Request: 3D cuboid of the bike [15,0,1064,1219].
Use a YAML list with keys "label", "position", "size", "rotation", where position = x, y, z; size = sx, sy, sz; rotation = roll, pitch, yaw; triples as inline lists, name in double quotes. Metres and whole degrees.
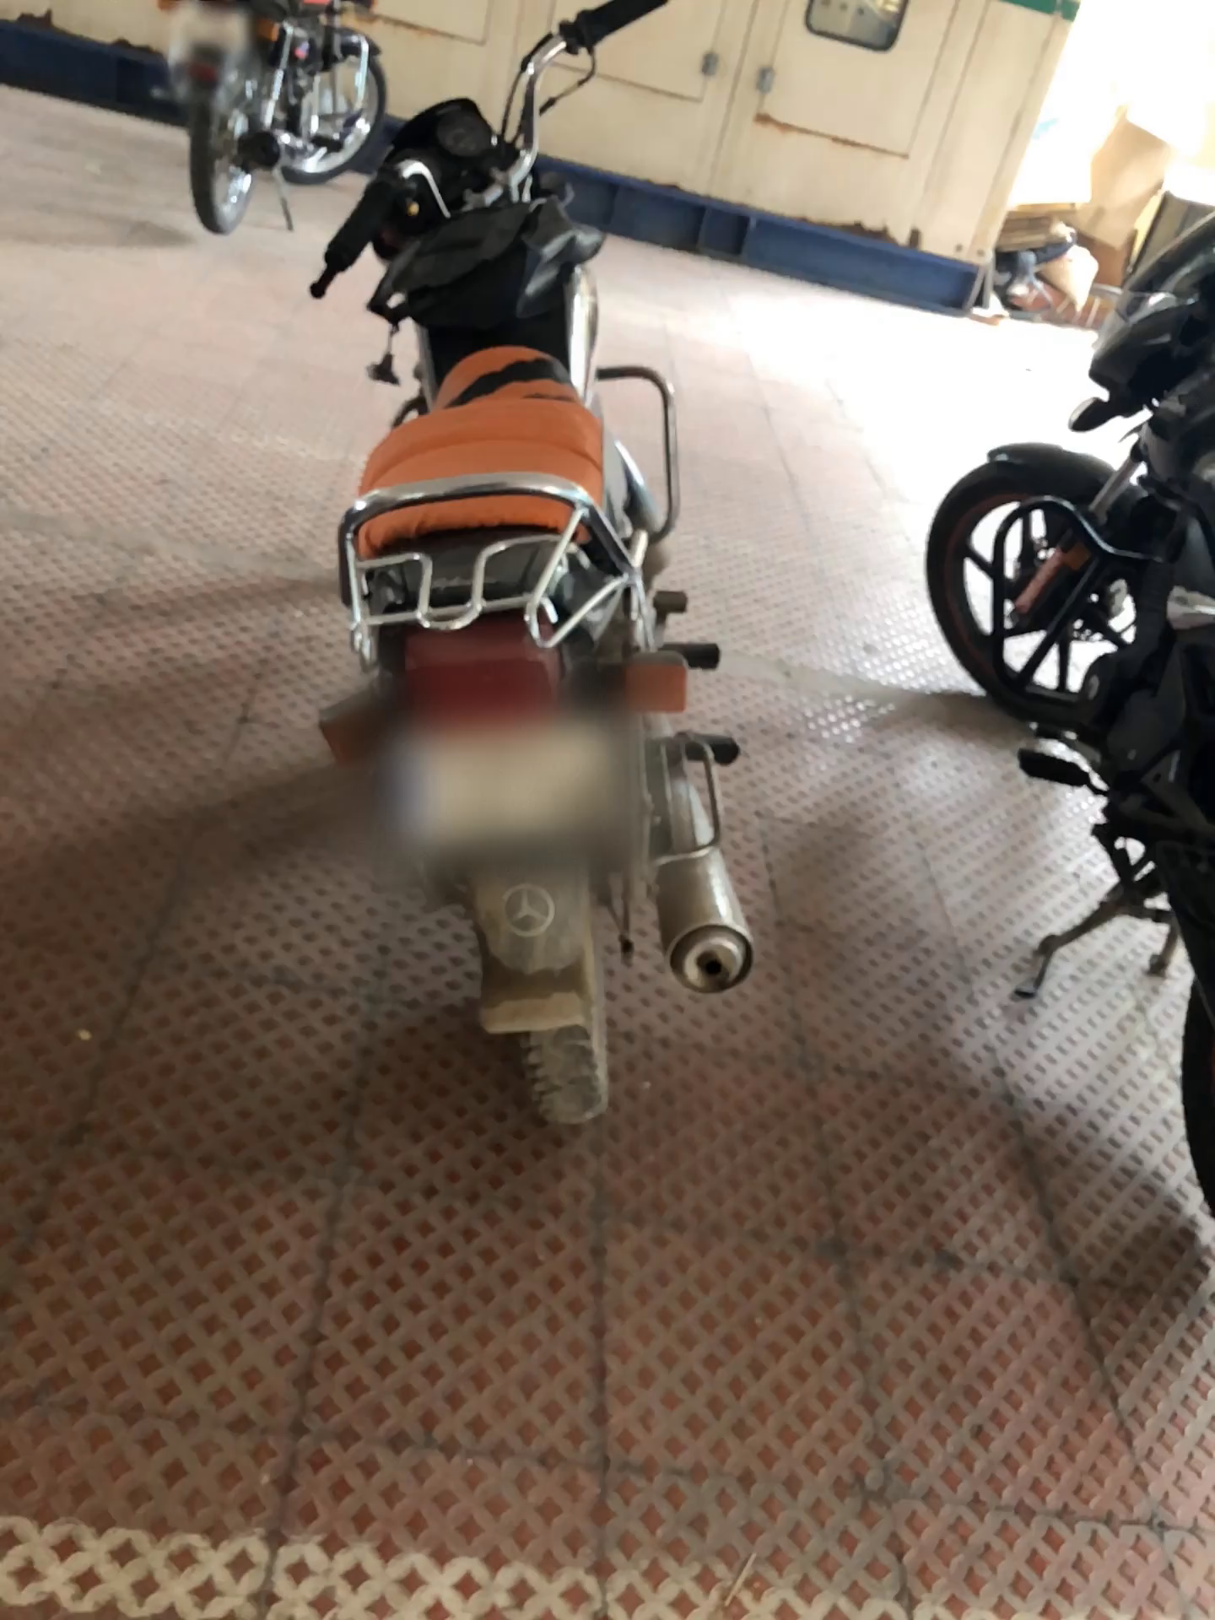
- label: "bike"
  position: [-0.249, -0.429, 1.746]
  size: [0.688, 1.123, 1.409]
  rotation: [7, 33, -14]
